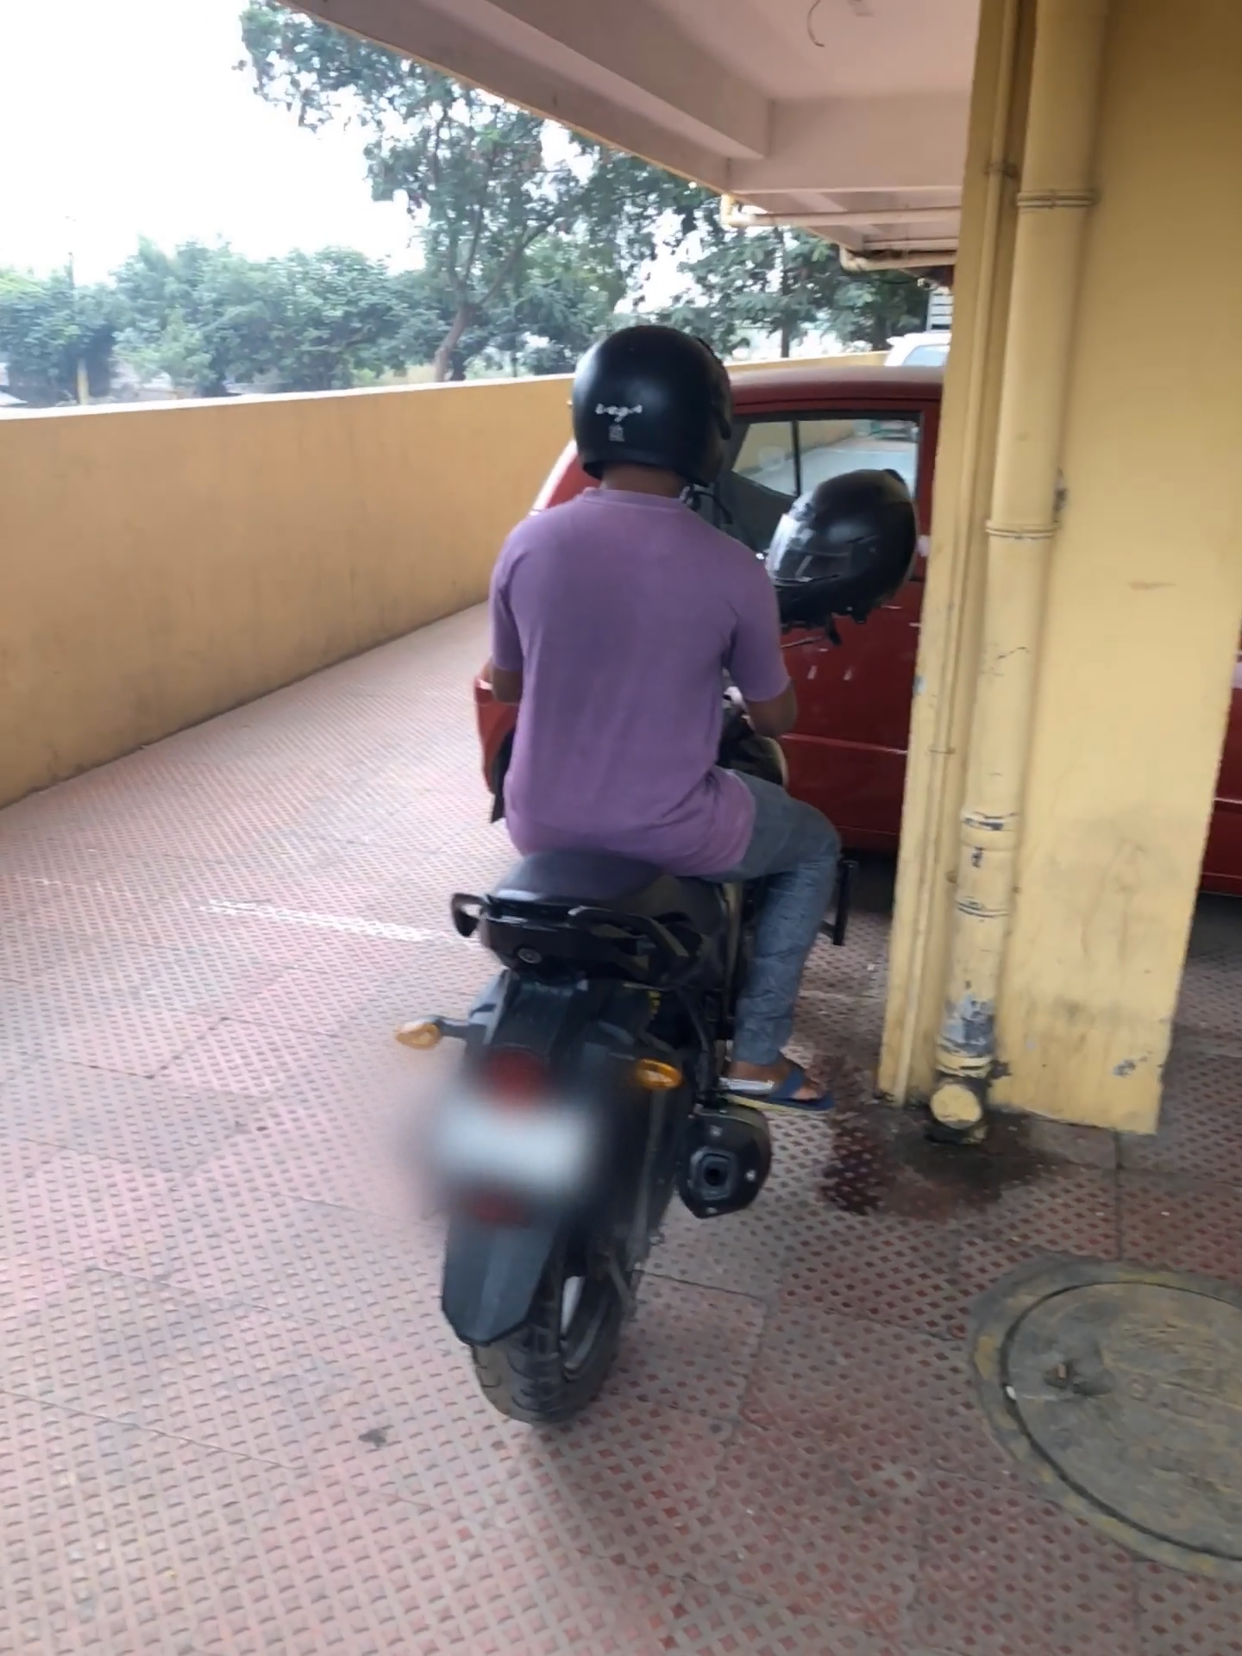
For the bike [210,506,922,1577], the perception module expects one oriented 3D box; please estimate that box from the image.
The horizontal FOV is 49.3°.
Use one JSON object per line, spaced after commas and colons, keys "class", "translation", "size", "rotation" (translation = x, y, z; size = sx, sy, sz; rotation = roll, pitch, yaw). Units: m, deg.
{"class": "bike", "translation": [0.028, 0.116, 2.656], "size": [0.852, 1.156, 1.915], "rotation": [4, 21, 7]}
